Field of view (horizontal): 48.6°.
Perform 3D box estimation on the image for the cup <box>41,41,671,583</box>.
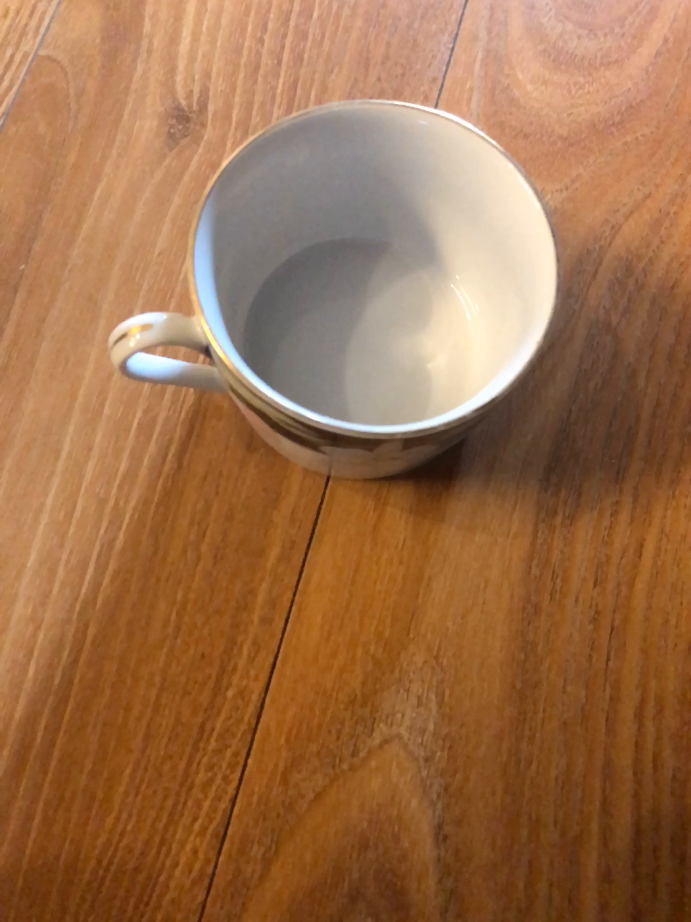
[{"bbox_3d":[0.000,-0.032,0.189,0.110,0.060,0.090,-17,78,-6],"label":"cup"}]
